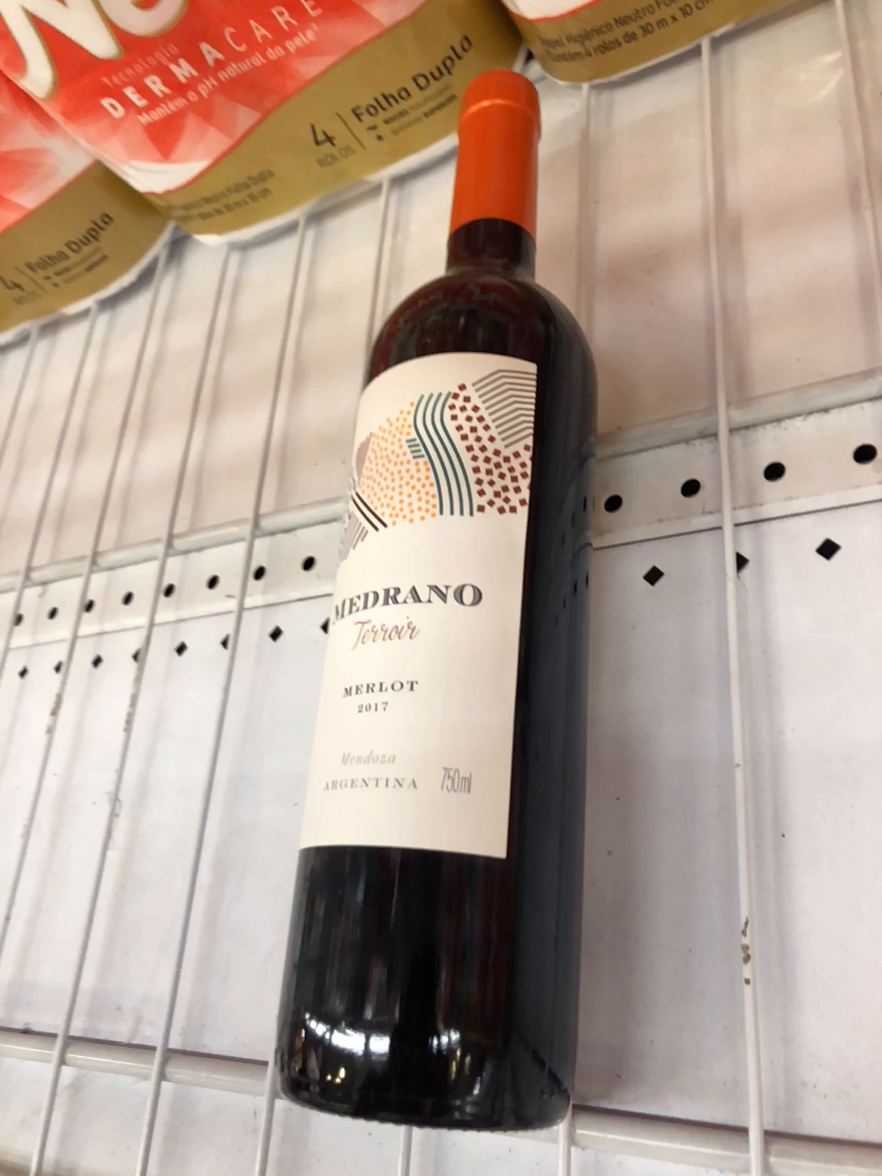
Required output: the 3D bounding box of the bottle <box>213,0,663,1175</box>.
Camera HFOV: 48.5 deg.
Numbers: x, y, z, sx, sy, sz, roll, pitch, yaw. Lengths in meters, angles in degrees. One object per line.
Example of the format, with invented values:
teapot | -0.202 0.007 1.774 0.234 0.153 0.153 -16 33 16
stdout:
bottle | 0.015 -0.020 0.297 0.080 0.070 0.331 -9 63 31
